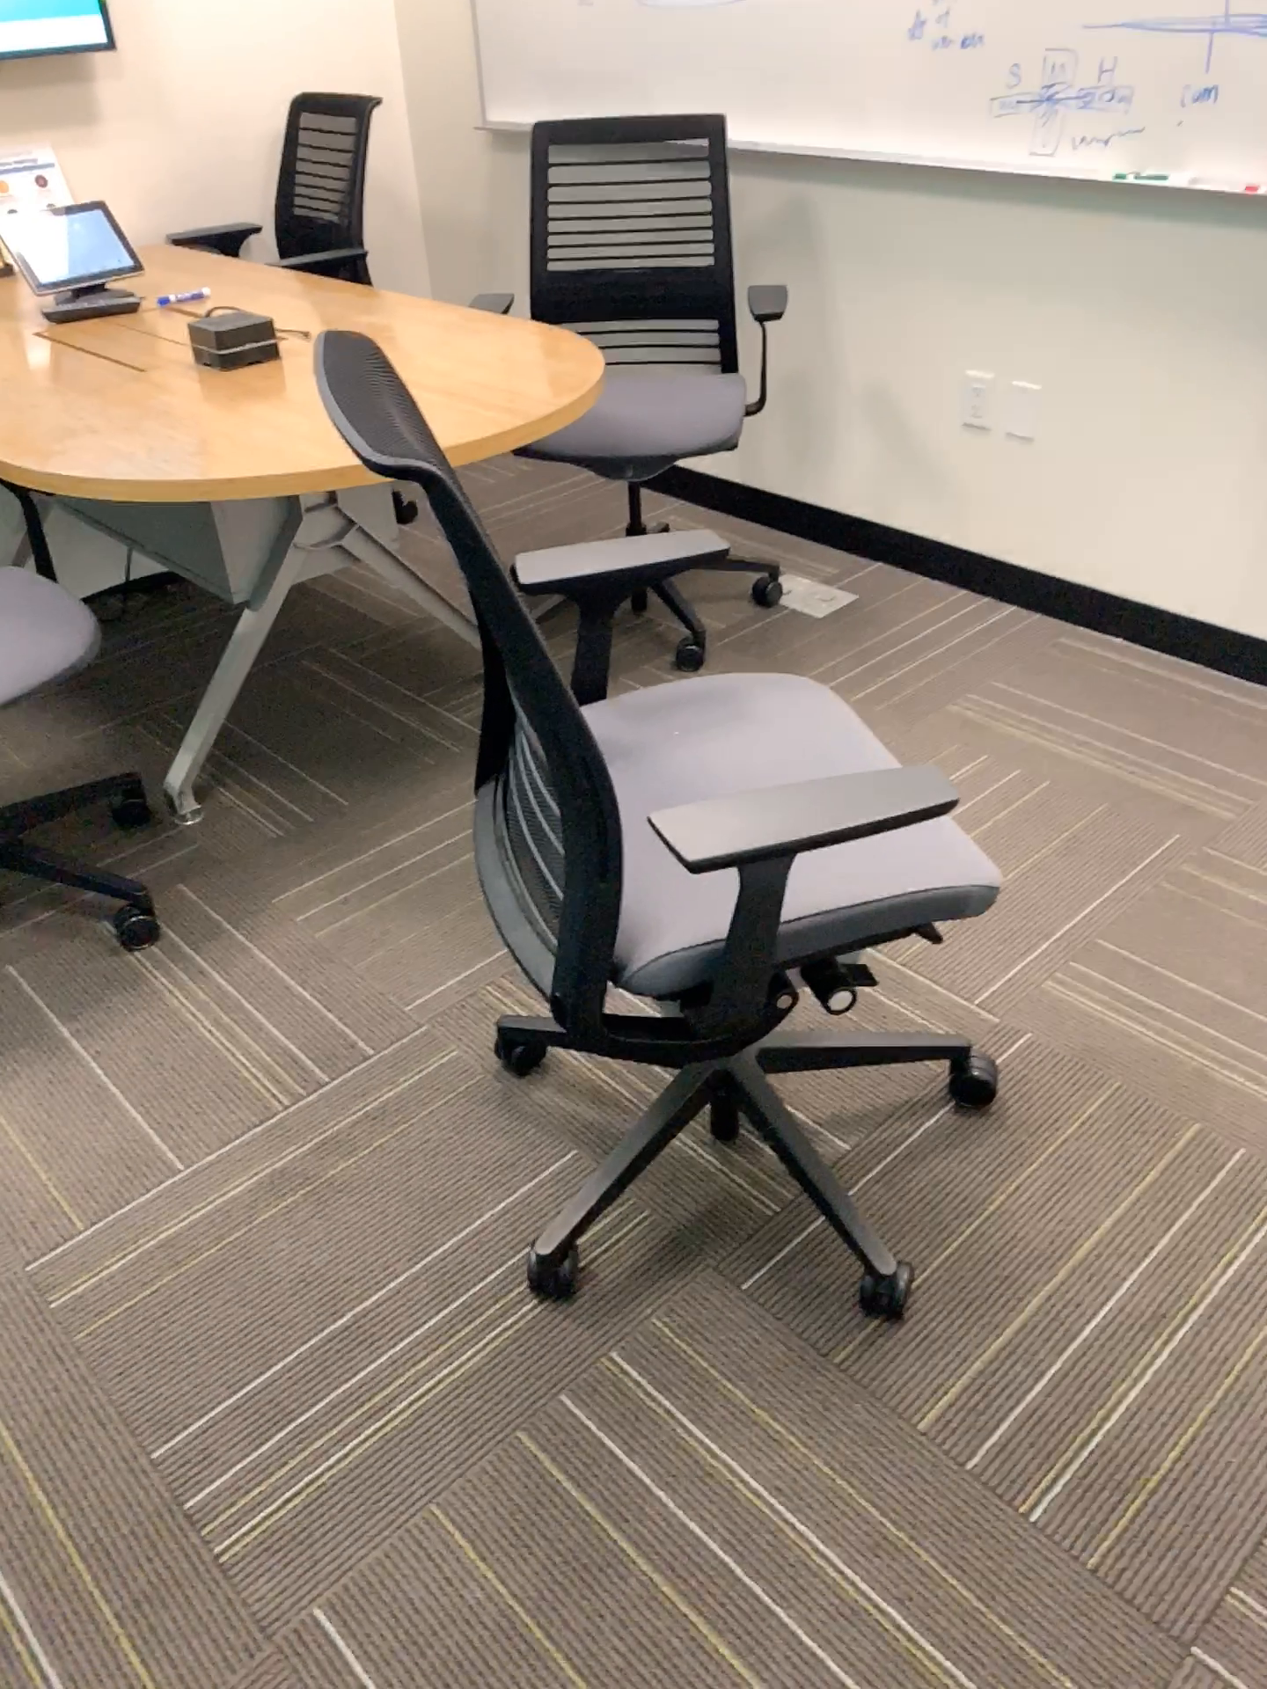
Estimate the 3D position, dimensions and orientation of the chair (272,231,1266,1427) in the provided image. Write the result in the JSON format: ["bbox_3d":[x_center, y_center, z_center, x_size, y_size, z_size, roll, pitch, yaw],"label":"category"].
[{"bbox_3d":[0.070,-0.037,1.404,0.690,0.994,0.654,-11,35,-11],"label":"chair"}]
